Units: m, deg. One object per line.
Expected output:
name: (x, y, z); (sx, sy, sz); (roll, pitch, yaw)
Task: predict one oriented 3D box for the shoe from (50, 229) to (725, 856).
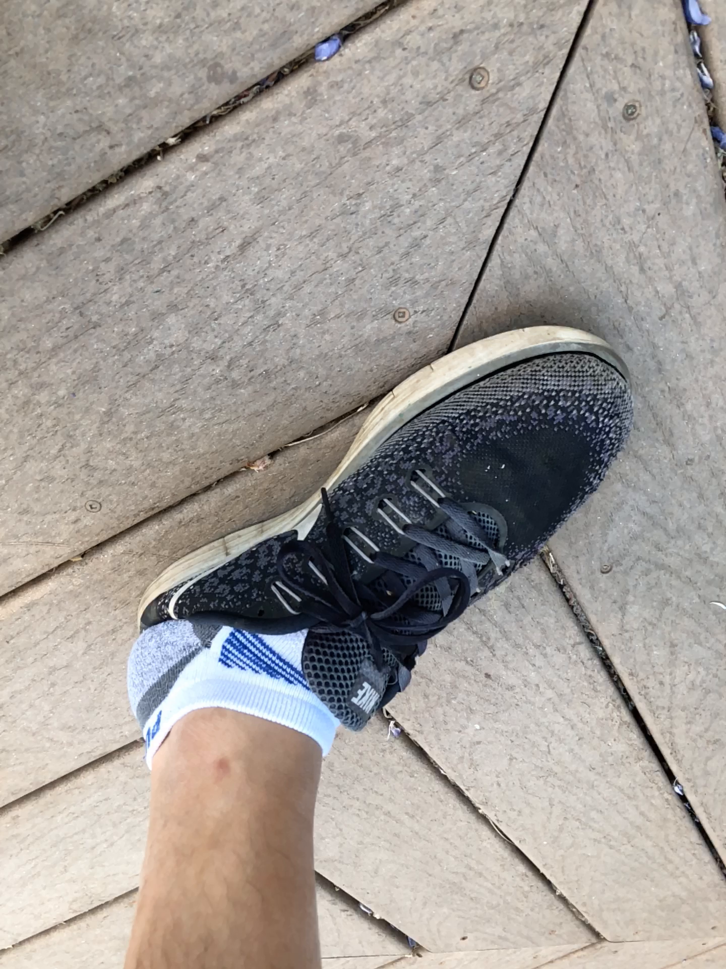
shoe: (0.006, 0.040, 0.394); (0.300, 0.100, 0.130); (-39, 124, 12)
